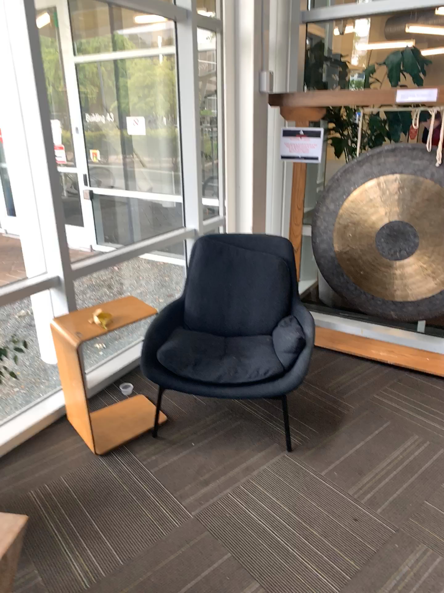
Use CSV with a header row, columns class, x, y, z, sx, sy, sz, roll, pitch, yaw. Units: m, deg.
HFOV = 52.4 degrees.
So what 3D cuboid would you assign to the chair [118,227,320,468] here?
class,x,y,z,sx,sy,sz,roll,pitch,yaw
chair,0.052,0.205,2.591,0.900,0.996,0.944,2,21,9
